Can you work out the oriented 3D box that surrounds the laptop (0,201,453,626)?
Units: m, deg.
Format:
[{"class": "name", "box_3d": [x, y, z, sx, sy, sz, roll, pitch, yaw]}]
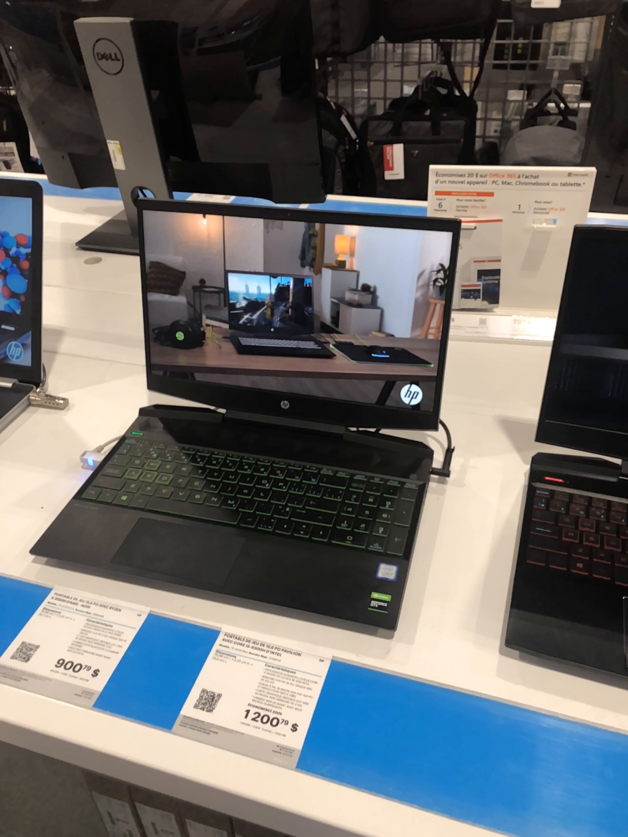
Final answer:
[{"class": "laptop", "box_3d": [-0.067, -0.034, 0.685, 0.355, 0.232, 0.317, 8, 37, 13]}]
